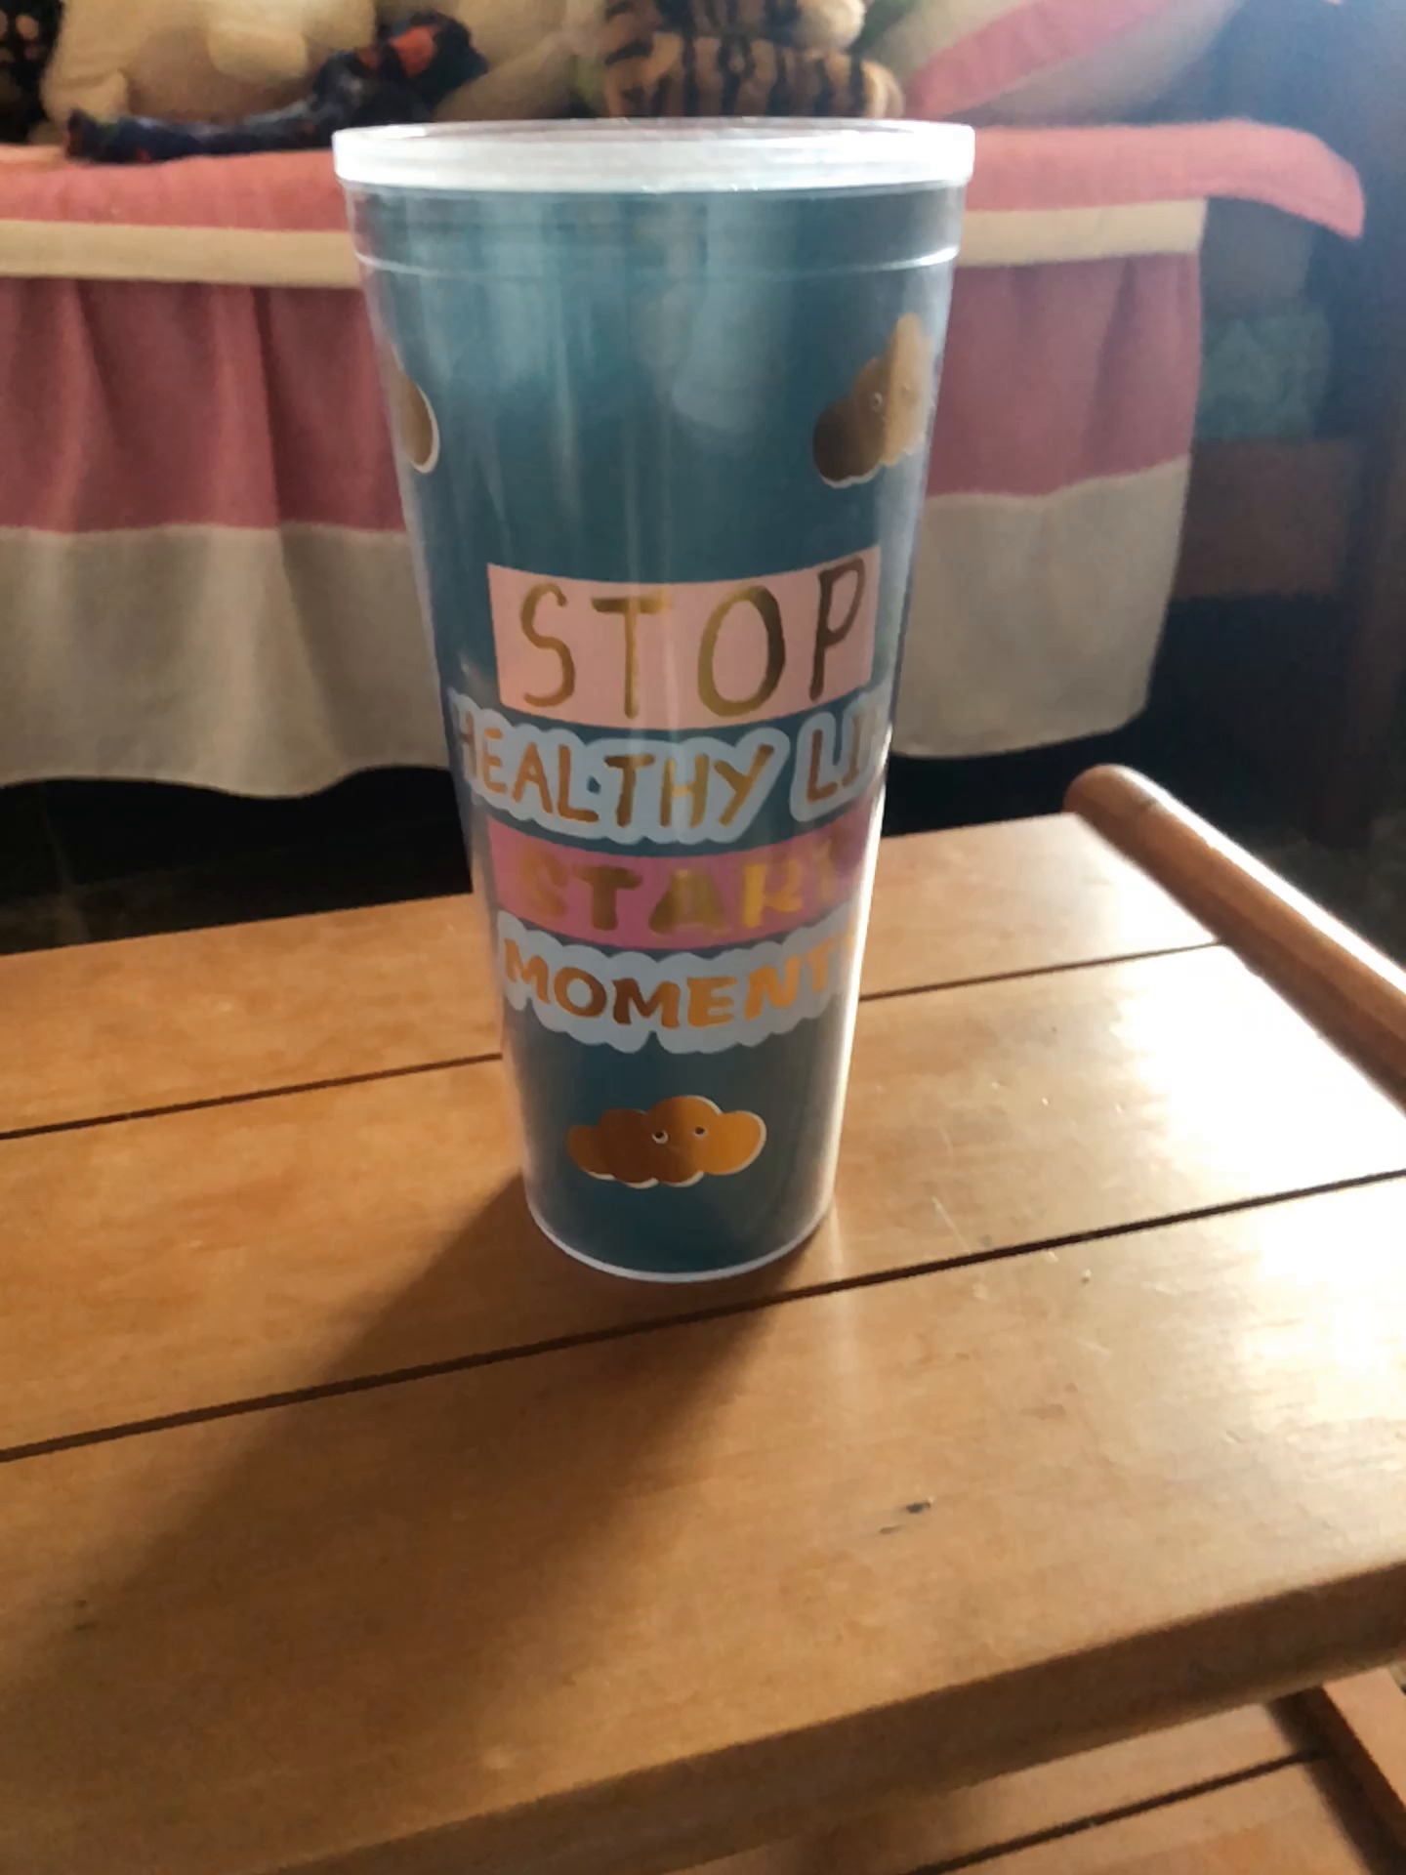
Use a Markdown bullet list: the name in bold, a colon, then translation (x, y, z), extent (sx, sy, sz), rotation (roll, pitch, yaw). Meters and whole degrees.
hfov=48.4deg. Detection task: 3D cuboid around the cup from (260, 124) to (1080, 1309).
- **cup**: translation (-0.008, -0.042, 0.275), extent (0.100, 0.179, 0.101), rotation (0, 28, 0)
